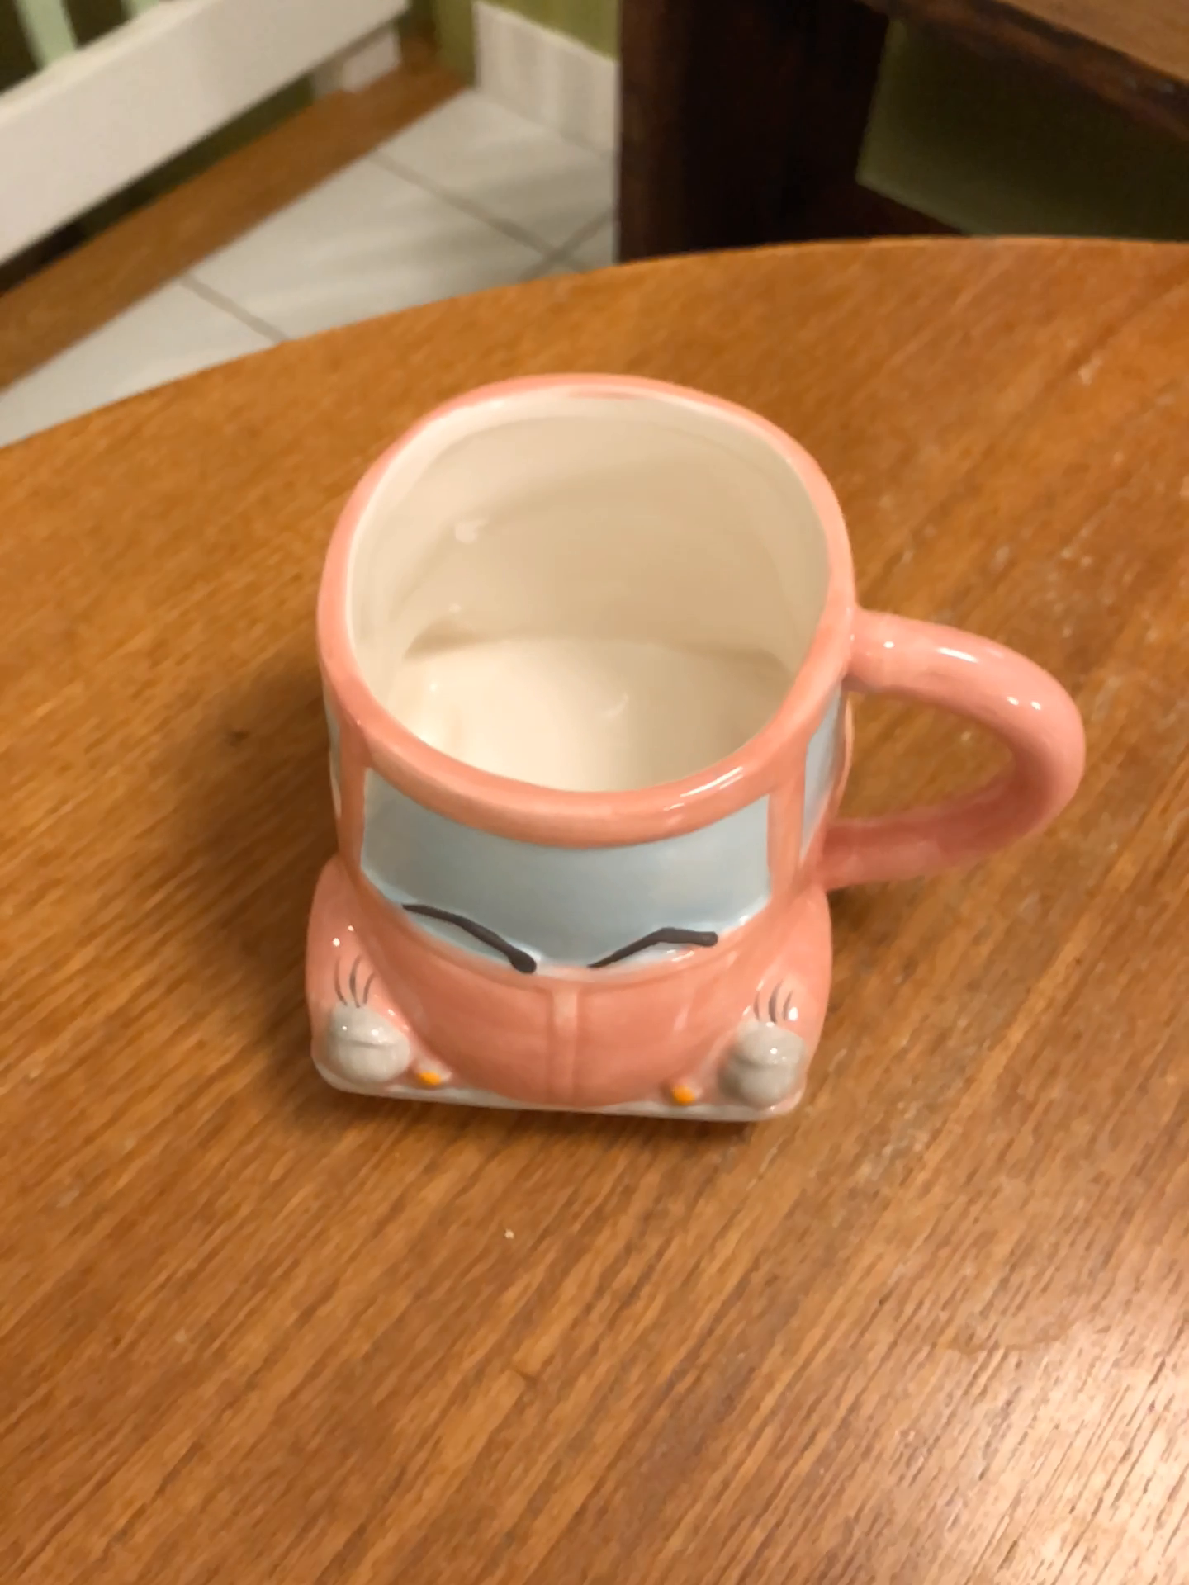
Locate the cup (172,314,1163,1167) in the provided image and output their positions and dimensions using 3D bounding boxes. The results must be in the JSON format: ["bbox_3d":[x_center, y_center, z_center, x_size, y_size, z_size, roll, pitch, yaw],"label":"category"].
[{"bbox_3d":[0.013,-0.008,0.262,0.139,0.097,0.128,0,58,0],"label":"cup"}]
